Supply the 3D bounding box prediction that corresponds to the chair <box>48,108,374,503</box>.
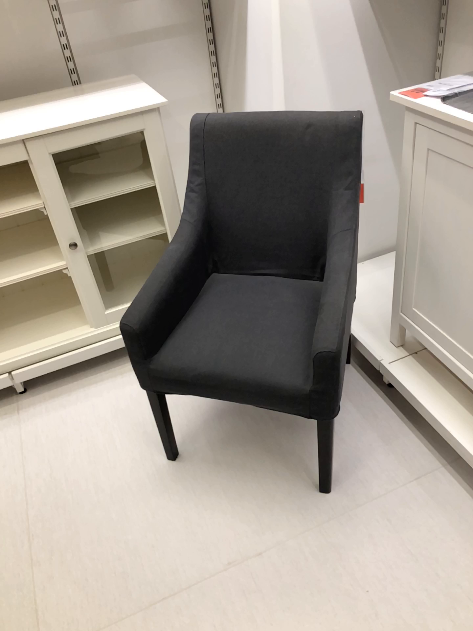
[{"bbox_3d":[0.029,-0.050,1.521,0.611,0.884,0.623,7,39,19],"label":"chair"}]
